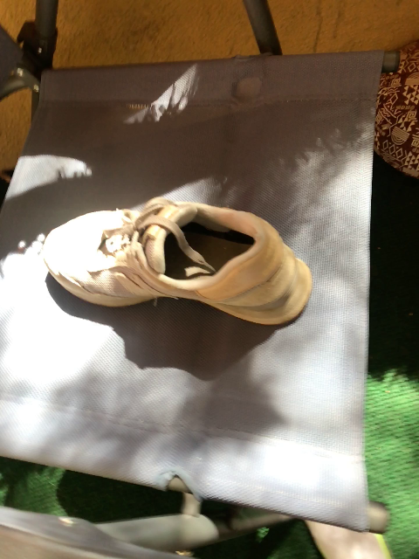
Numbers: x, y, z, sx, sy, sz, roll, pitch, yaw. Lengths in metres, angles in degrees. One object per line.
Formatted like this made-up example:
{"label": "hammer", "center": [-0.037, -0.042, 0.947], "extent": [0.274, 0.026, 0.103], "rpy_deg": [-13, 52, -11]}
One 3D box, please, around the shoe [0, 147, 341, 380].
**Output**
{"label": "shoe", "center": [-0.041, -0.013, 0.431], "extent": [0.286, 0.104, 0.125], "rpy_deg": [15, 72, 8]}
